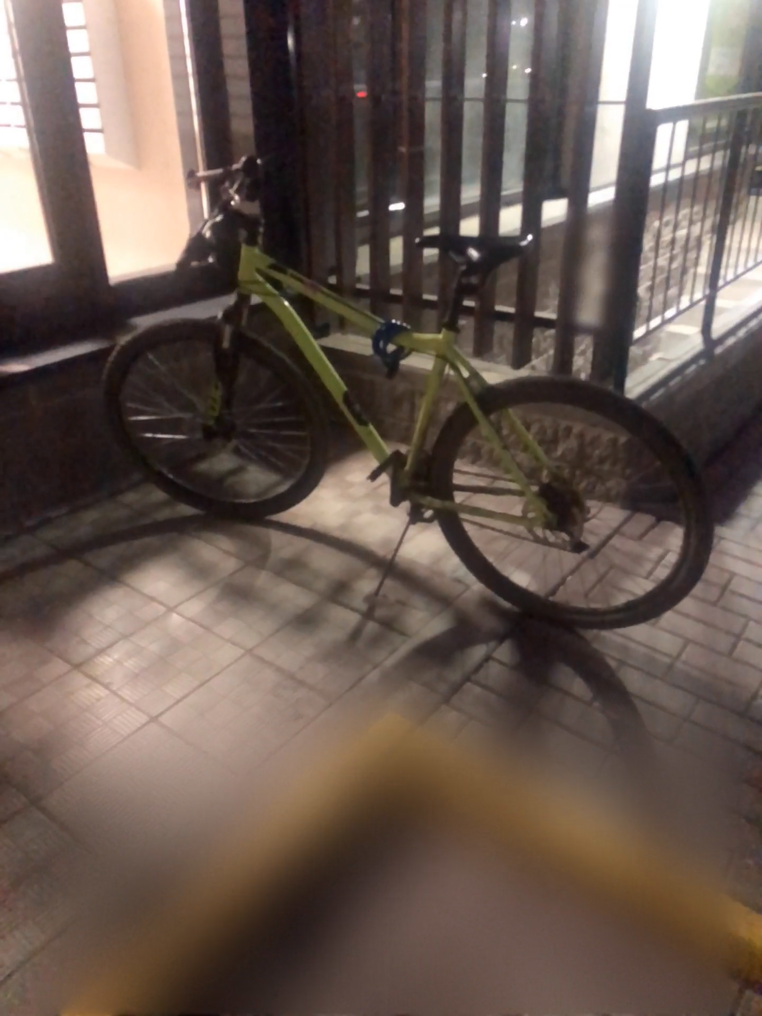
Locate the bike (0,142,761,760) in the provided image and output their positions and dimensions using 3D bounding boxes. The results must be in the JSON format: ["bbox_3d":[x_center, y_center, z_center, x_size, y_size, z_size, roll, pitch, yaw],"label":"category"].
[{"bbox_3d":[-0.080,-0.281,2.115,1.762,1.095,0.722,13,30,23],"label":"bike"}]
